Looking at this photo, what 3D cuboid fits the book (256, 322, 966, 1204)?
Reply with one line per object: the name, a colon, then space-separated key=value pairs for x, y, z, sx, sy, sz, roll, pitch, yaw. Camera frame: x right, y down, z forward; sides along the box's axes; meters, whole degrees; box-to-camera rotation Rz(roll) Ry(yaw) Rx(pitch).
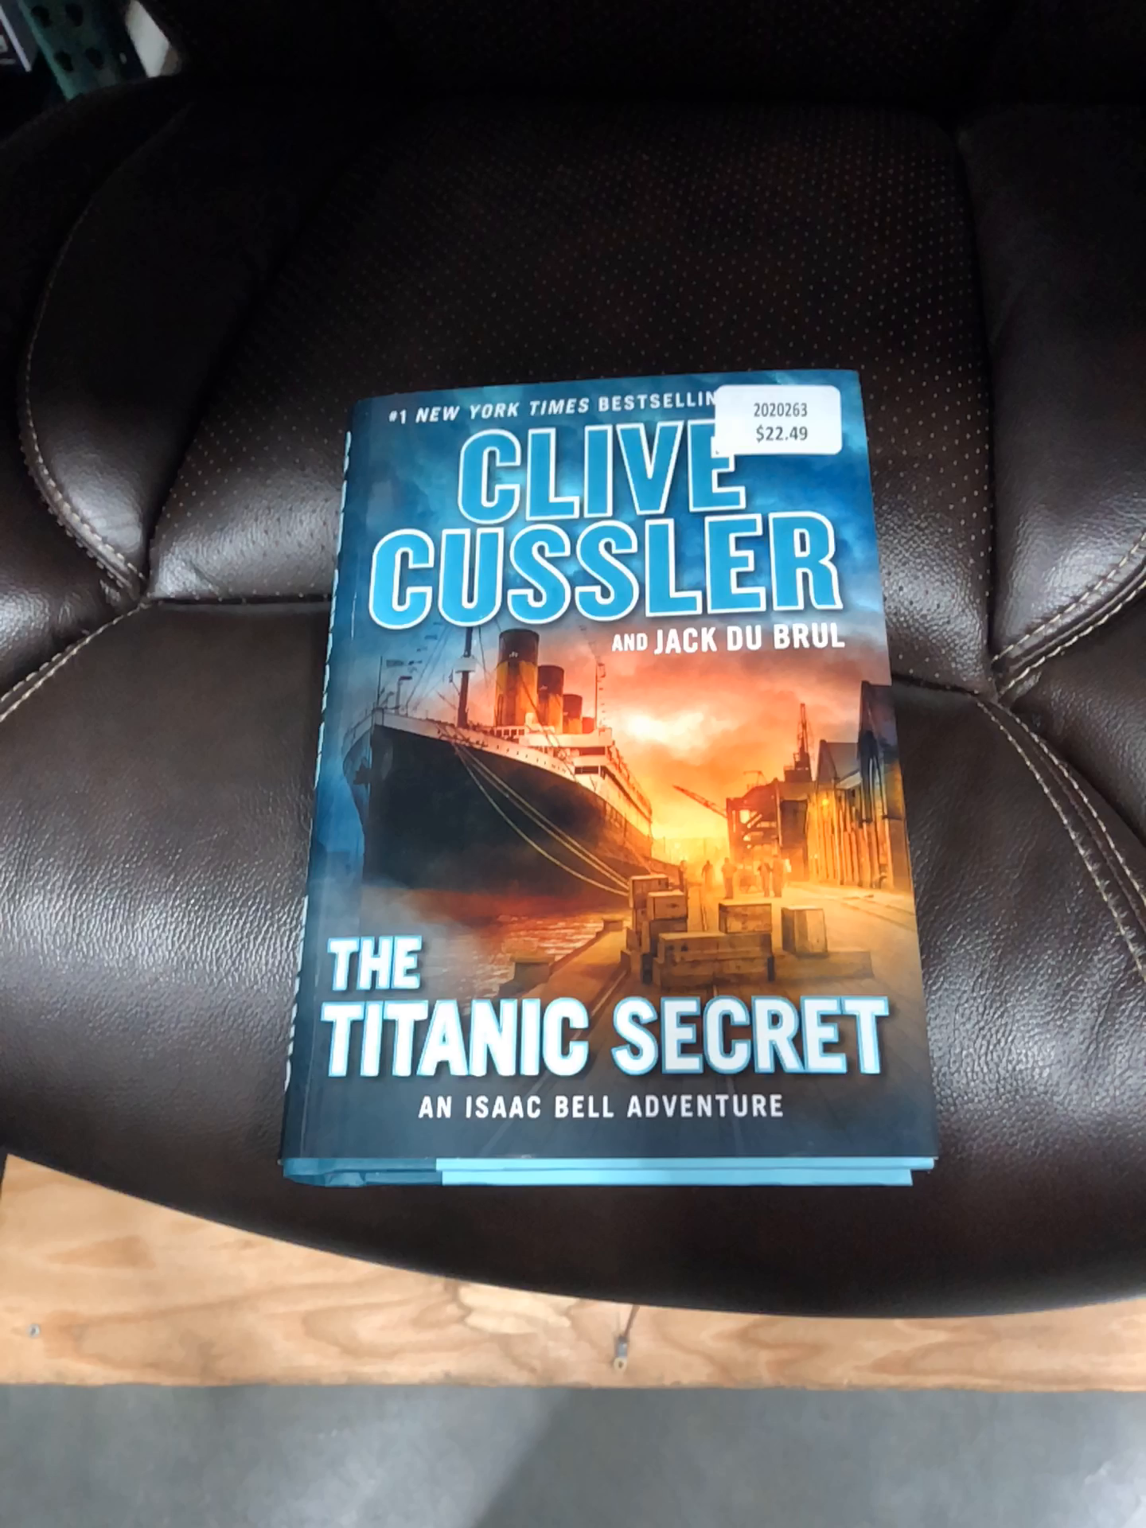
book: x=0.010 y=-0.008 z=0.362 sx=0.165 sy=0.040 sz=0.249 roll=-2 pitch=67 yaw=6
